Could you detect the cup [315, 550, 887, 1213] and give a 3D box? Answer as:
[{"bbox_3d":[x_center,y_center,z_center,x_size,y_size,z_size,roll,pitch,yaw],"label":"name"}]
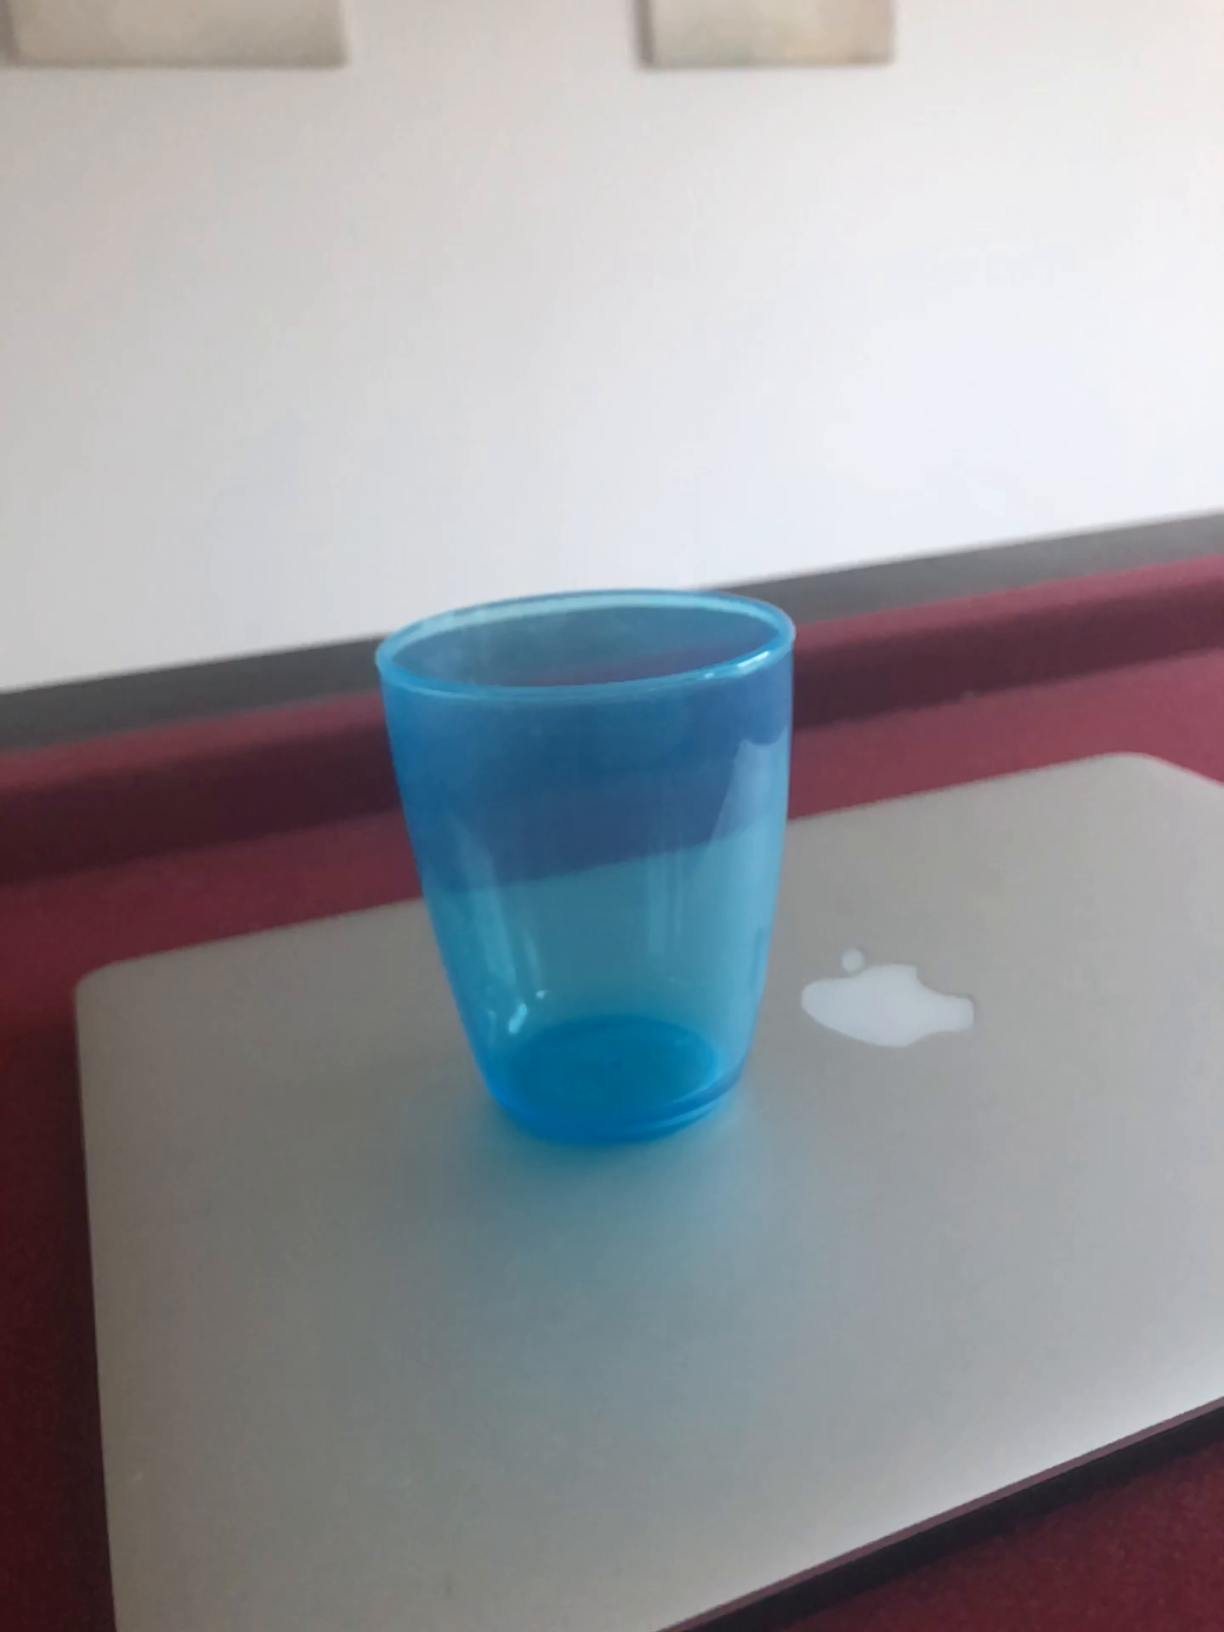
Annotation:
[{"bbox_3d":[-0.003,0.006,0.286,0.090,0.100,0.080,-11,21,-18],"label":"cup"}]
